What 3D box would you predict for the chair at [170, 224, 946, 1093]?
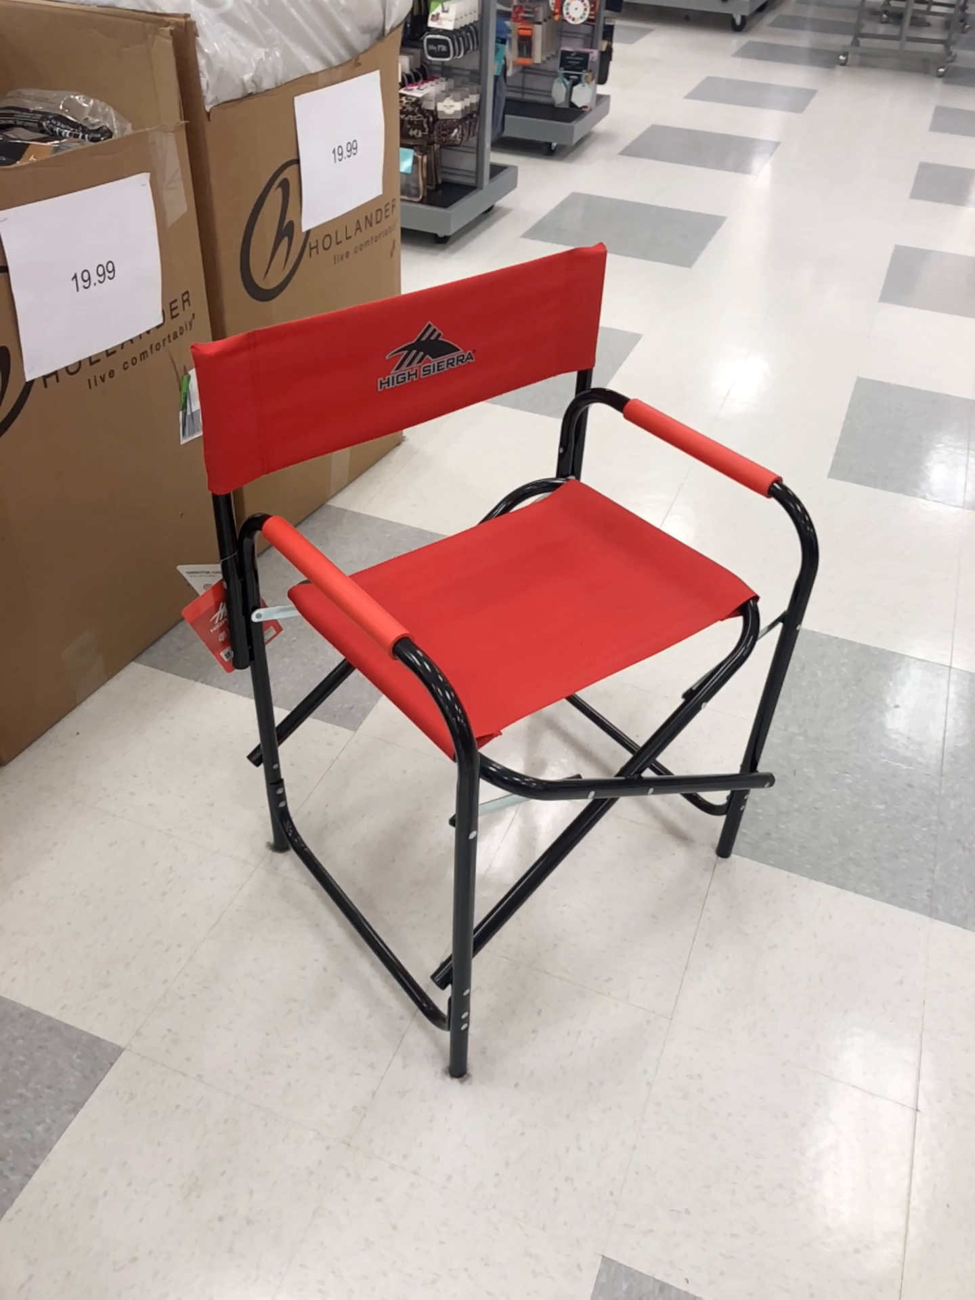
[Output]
[{"bbox_3d":[0.058,-0.019,1.277,0.595,0.729,0.490,-26,47,-32],"label":"chair"}]
